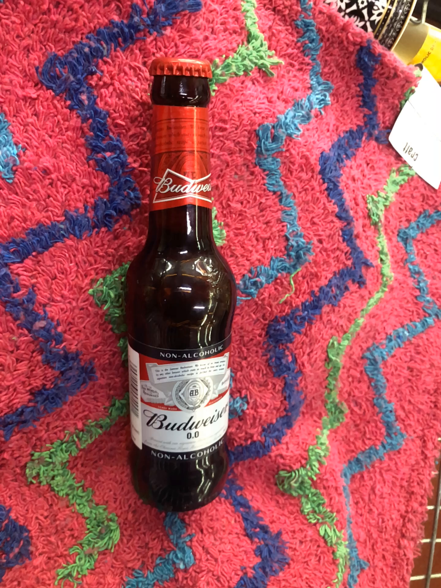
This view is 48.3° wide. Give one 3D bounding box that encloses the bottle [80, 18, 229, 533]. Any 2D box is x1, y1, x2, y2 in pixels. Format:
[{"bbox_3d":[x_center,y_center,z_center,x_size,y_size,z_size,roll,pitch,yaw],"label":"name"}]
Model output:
[{"bbox_3d":[-0.033,0.000,0.265,0.060,0.050,0.250,-6,107,-19],"label":"bottle"}]
